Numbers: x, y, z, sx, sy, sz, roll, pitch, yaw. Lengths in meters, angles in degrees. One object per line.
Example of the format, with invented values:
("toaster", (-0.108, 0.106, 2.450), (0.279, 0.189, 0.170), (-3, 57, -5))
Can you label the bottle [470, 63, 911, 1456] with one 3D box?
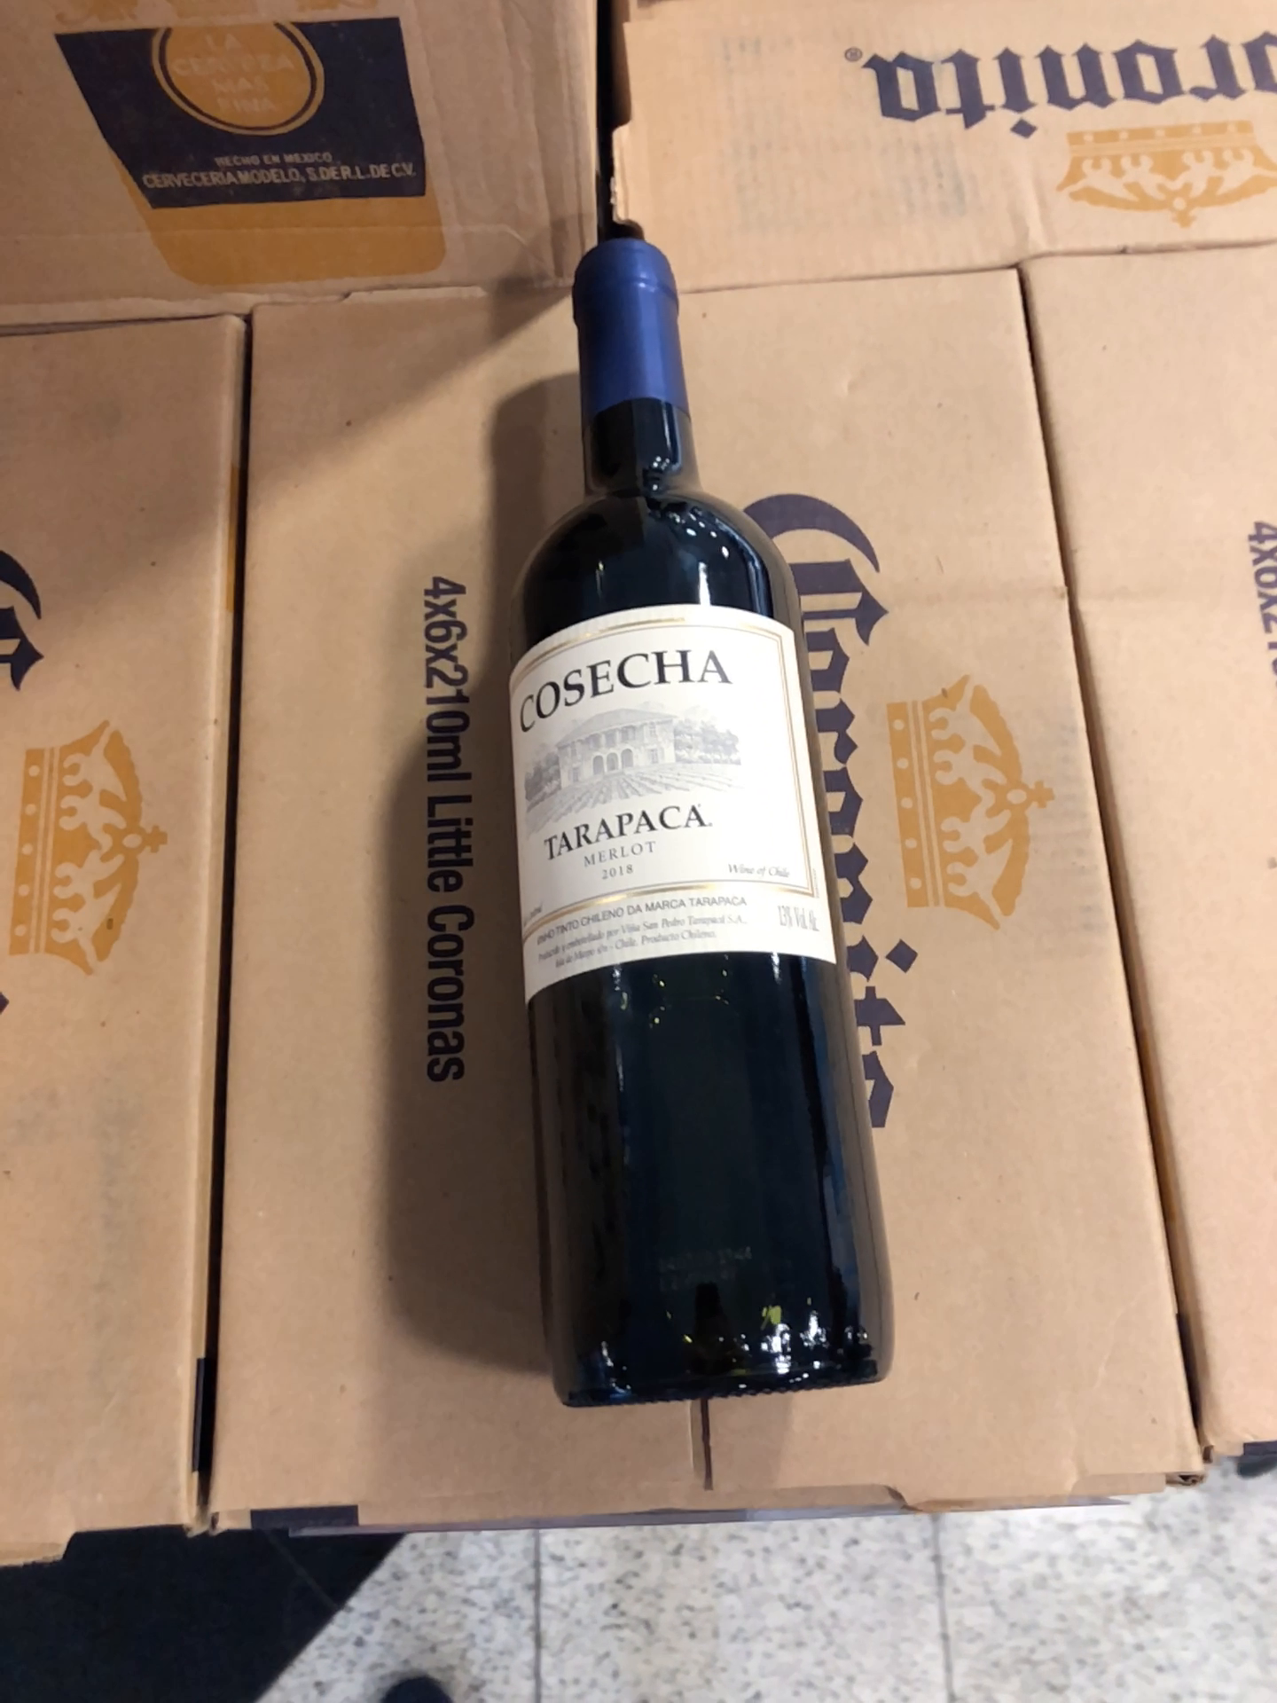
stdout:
("bottle", (-0.001, -0.039, 0.335), (0.070, 0.060, 0.331), (1, 67, -10))
